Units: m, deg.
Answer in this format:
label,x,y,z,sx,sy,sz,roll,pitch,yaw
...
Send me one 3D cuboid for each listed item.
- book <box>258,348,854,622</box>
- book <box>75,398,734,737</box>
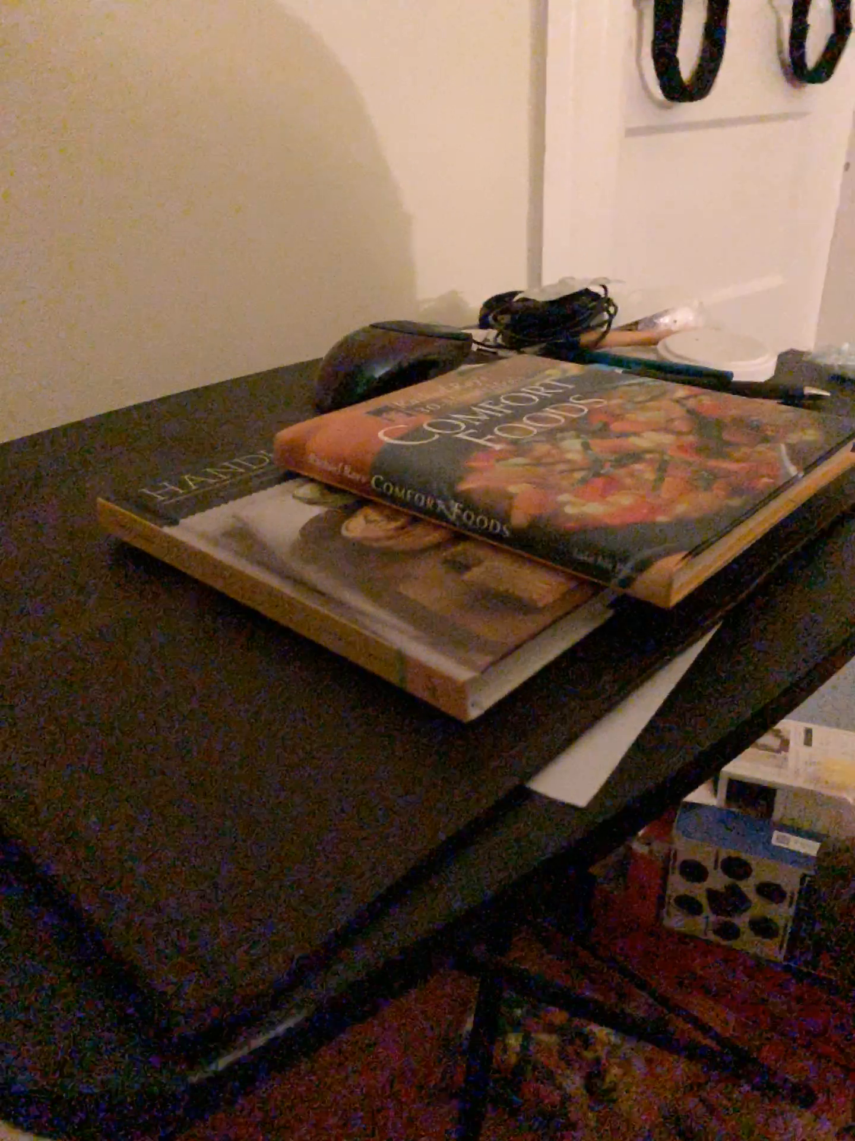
label,x,y,z,sx,sy,sz,roll,pitch,yaw
book,0.067,-0.059,0.413,0.211,0.020,0.200,21,35,36
book,-0.012,-0.024,0.383,0.221,0.020,0.180,22,35,37
